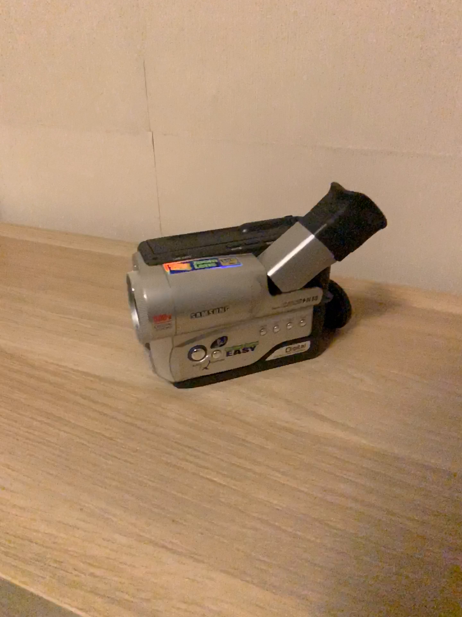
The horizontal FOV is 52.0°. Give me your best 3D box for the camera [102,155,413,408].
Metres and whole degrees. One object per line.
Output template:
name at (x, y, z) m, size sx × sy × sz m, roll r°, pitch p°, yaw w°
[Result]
camera at (0.014, -0.032, 0.365) m, size 0.192 × 0.133 × 0.107 m, roll -11°, pitch 31°, yaw -18°
